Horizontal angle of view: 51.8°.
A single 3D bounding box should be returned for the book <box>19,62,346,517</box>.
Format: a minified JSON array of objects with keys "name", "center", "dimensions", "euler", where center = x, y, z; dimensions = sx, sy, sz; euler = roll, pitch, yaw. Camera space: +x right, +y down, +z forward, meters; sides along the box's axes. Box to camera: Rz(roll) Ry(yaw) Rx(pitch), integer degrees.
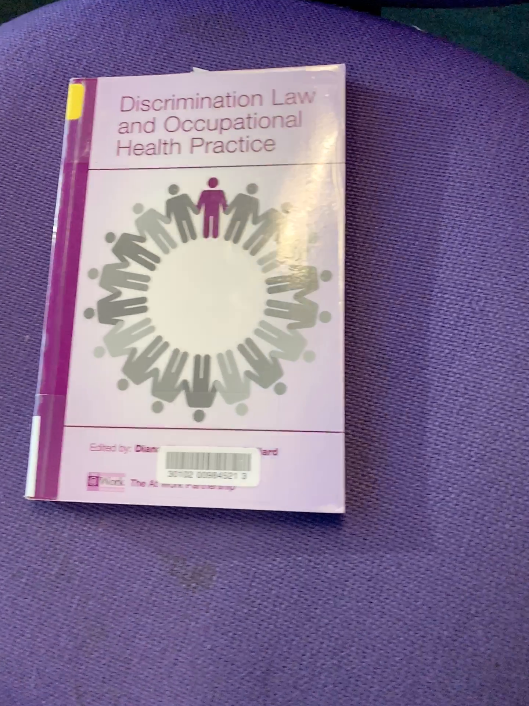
[{"name":"book","center":[-0.037,-0.039,0.289],"dimensions":[0.157,0.022,0.235],"euler":[0,79,6]}]
